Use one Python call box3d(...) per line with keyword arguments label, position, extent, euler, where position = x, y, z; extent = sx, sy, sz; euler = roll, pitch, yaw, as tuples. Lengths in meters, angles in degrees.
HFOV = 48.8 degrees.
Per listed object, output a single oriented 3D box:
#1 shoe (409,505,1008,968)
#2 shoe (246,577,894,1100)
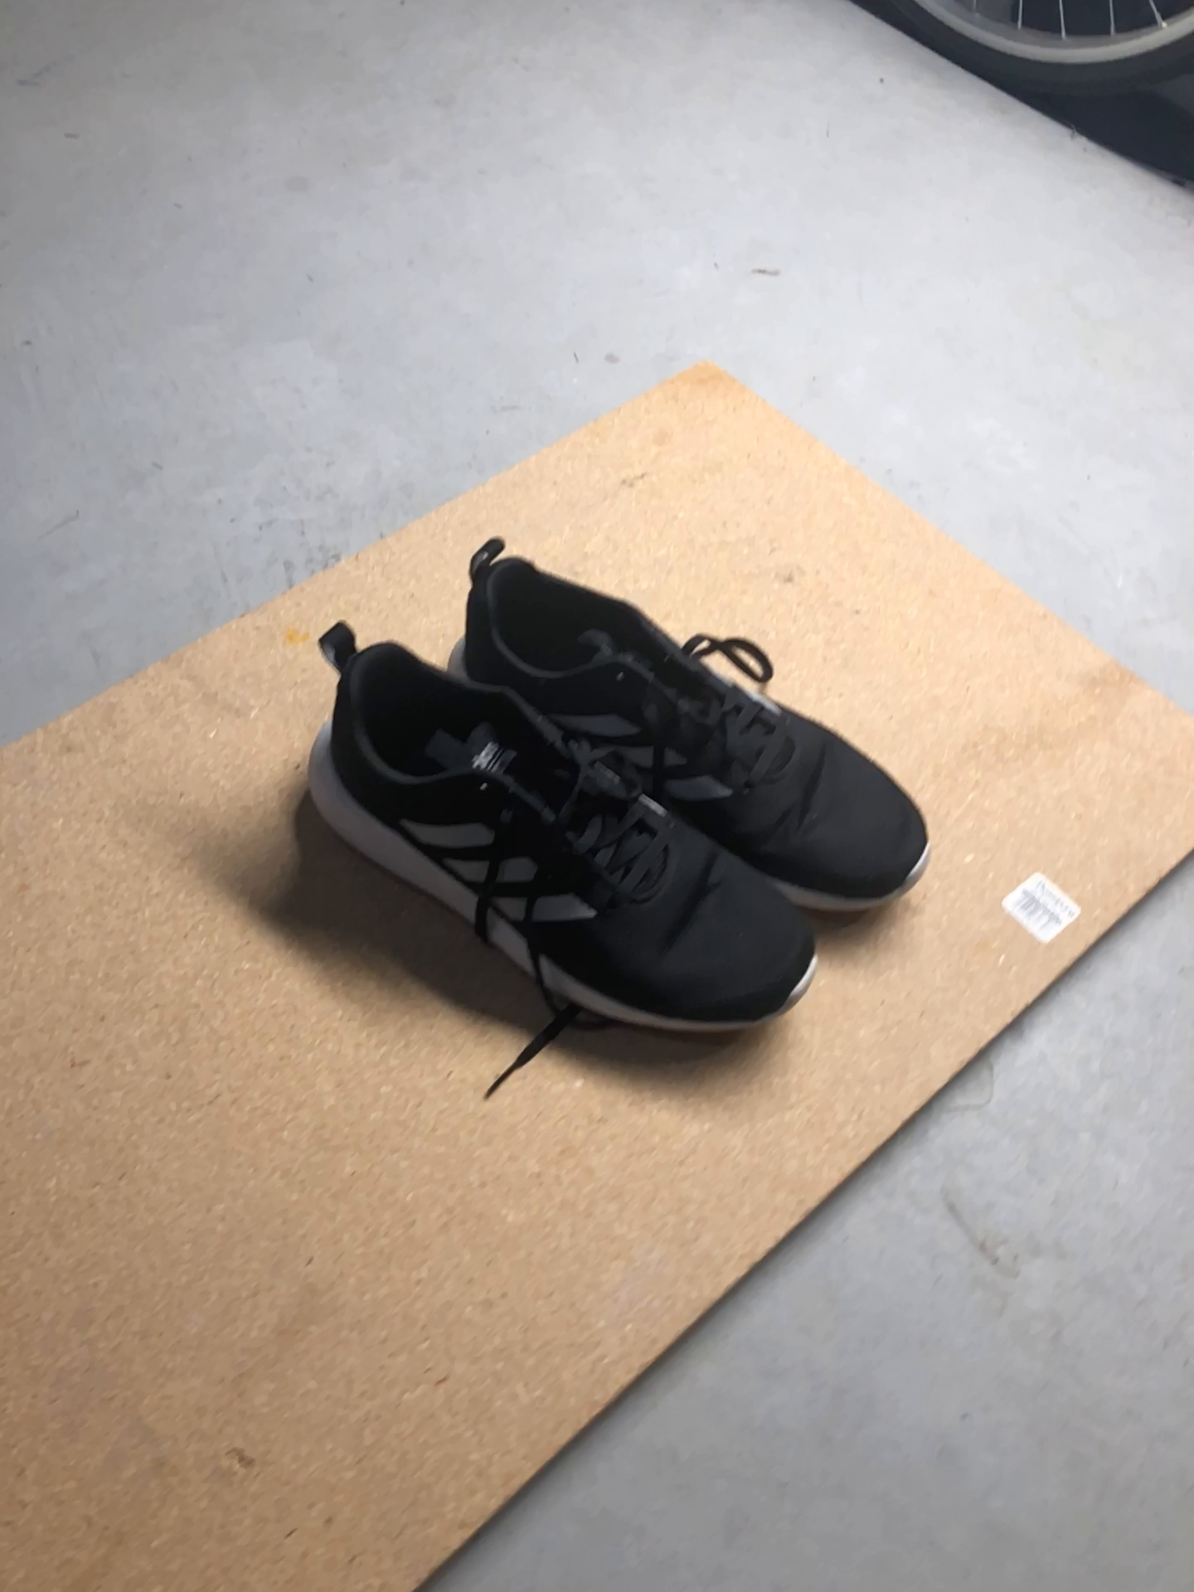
box3d(label="shoe", position=(0.053, -0.039, 0.724), extent=(0.300, 0.090, 0.110), euler=(27, 52, 14))
box3d(label="shoe", position=(-0.020, 0.014, 0.667), extent=(0.300, 0.090, 0.110), euler=(28, 52, 15))
